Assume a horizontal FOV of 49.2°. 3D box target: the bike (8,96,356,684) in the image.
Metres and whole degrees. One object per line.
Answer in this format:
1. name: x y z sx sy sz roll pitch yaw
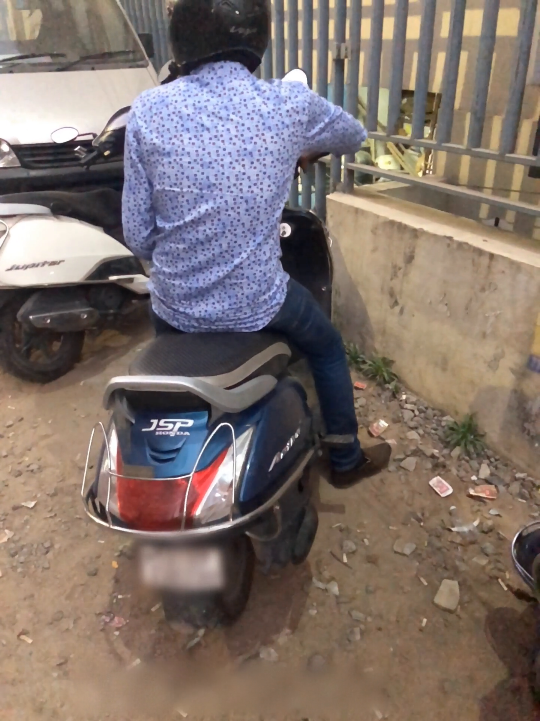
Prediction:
1. bike: -0.132 -0.100 1.899 0.616 1.130 1.478 0 31 3
